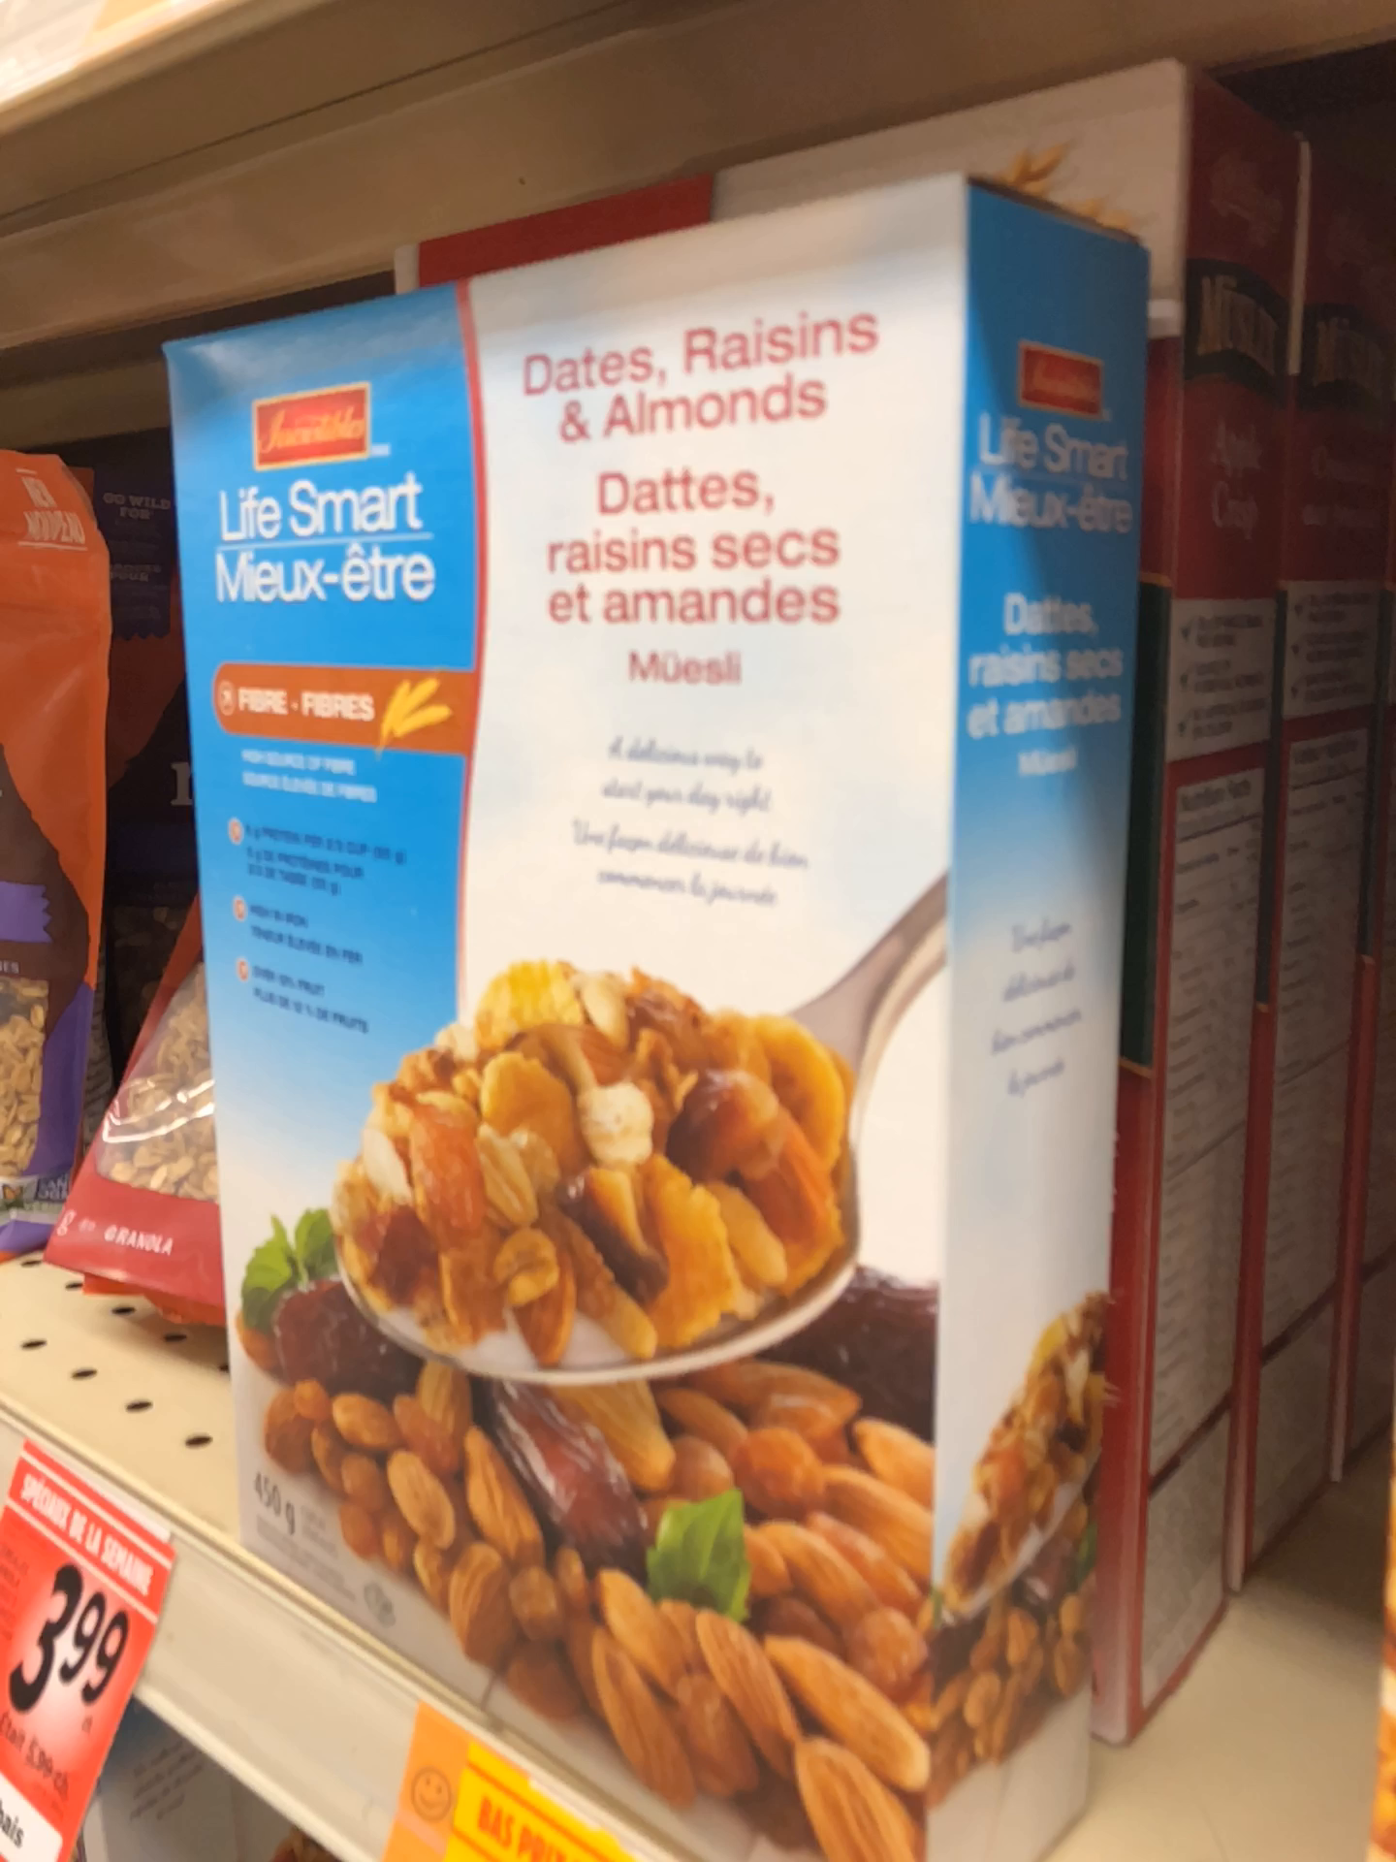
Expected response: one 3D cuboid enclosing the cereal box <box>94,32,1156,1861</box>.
[{"bbox_3d":[-0.021,0.013,0.250,0.170,0.239,0.050,9,16,41],"label":"cereal box"}]
